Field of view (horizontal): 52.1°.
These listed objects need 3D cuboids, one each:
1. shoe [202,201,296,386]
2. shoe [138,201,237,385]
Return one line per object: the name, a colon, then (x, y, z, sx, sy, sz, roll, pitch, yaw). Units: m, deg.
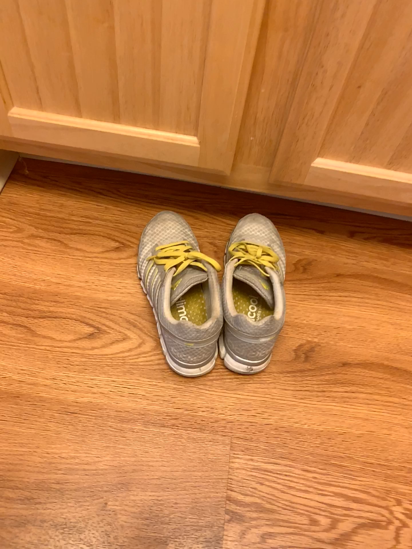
shoe: (0.064, 0.026, 0.613, 0.090, 0.130, 0.221, 11, 55, 1)
shoe: (-0.039, 0.023, 0.629, 0.090, 0.130, 0.231, -8, 57, -12)
